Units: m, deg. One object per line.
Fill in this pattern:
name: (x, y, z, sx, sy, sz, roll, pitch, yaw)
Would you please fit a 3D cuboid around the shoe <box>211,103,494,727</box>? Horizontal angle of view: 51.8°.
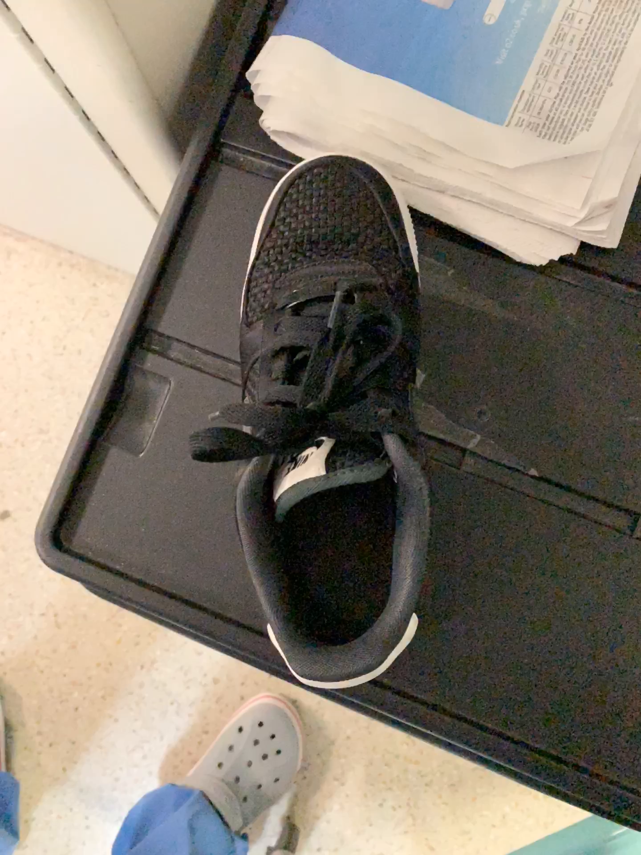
shoe: (0.012, -0.005, 0.289, 0.089, 0.094, 0.225, -4, 85, 3)
